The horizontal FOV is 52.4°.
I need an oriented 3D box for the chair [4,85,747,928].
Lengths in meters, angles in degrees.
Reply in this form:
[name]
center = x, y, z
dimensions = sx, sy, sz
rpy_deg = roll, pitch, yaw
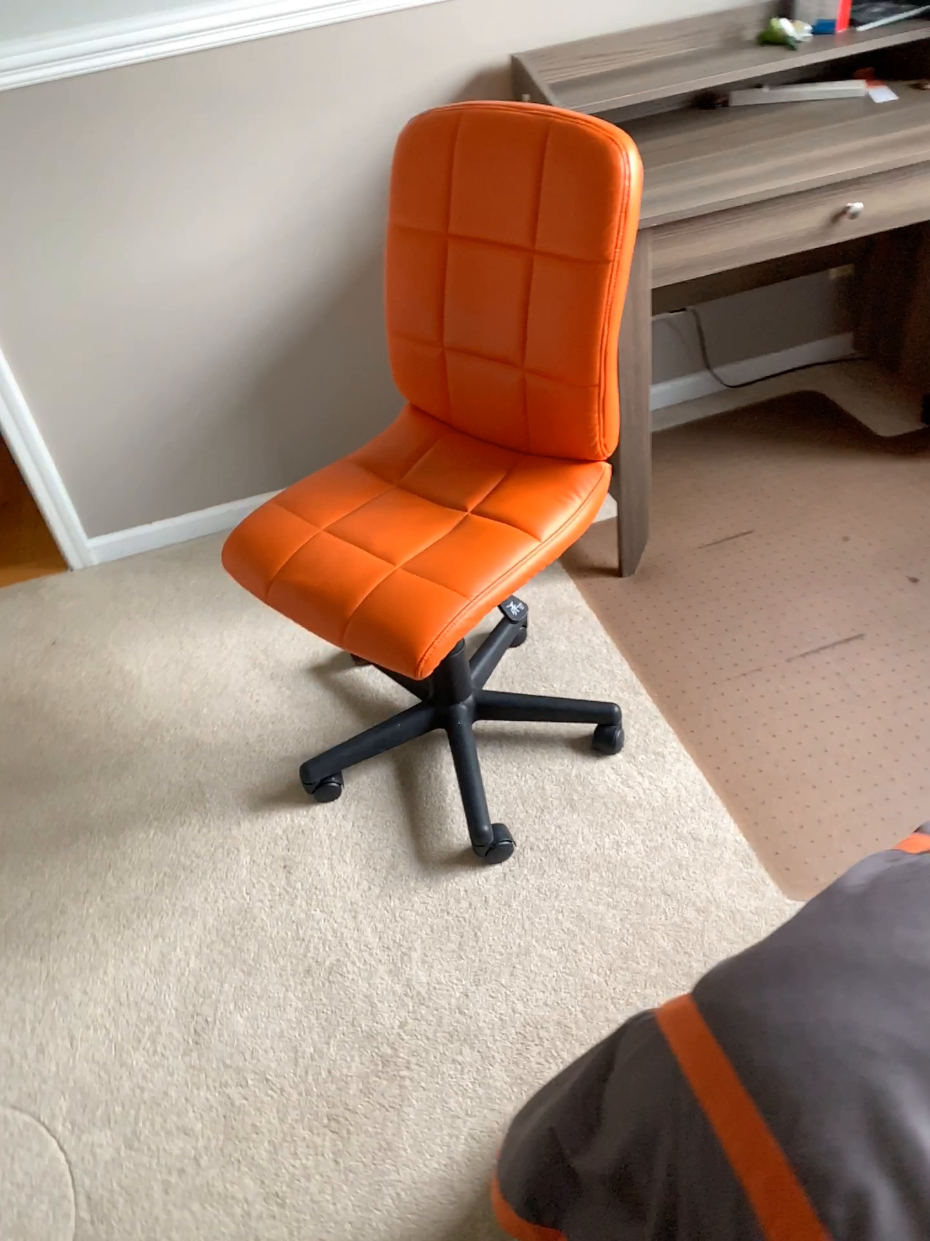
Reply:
[chair]
center = -0.055, -0.185, 1.386
dimensions = 0.615, 0.901, 0.620
rpy_deg = 26, 51, 33
